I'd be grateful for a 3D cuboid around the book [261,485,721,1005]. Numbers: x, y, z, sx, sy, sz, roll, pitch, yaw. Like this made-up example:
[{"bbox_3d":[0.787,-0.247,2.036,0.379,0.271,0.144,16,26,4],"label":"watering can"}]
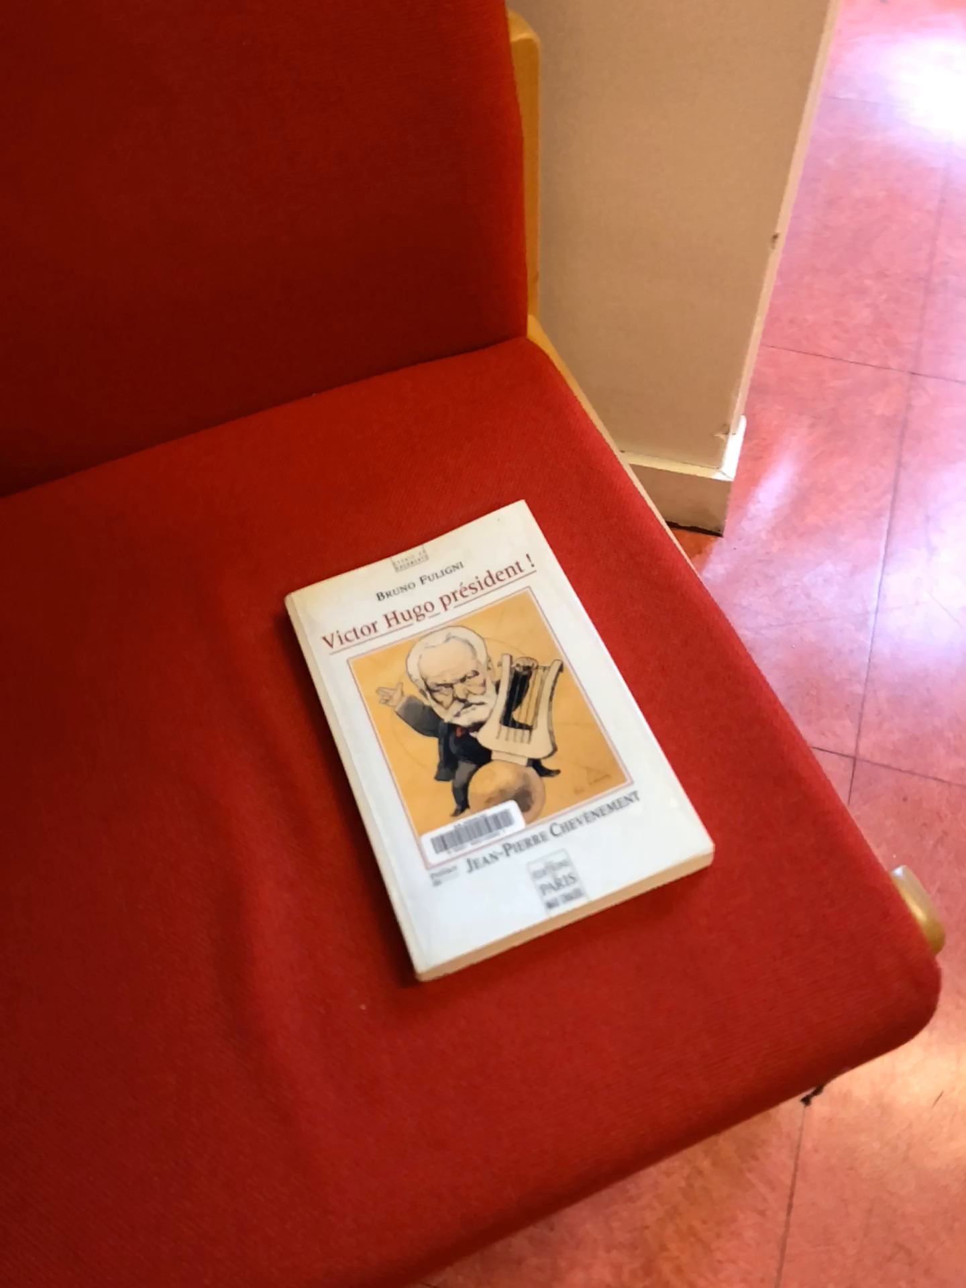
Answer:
[{"bbox_3d":[-0.005,0.039,0.545,0.151,0.040,0.237,-20,60,-10],"label":"book"}]
